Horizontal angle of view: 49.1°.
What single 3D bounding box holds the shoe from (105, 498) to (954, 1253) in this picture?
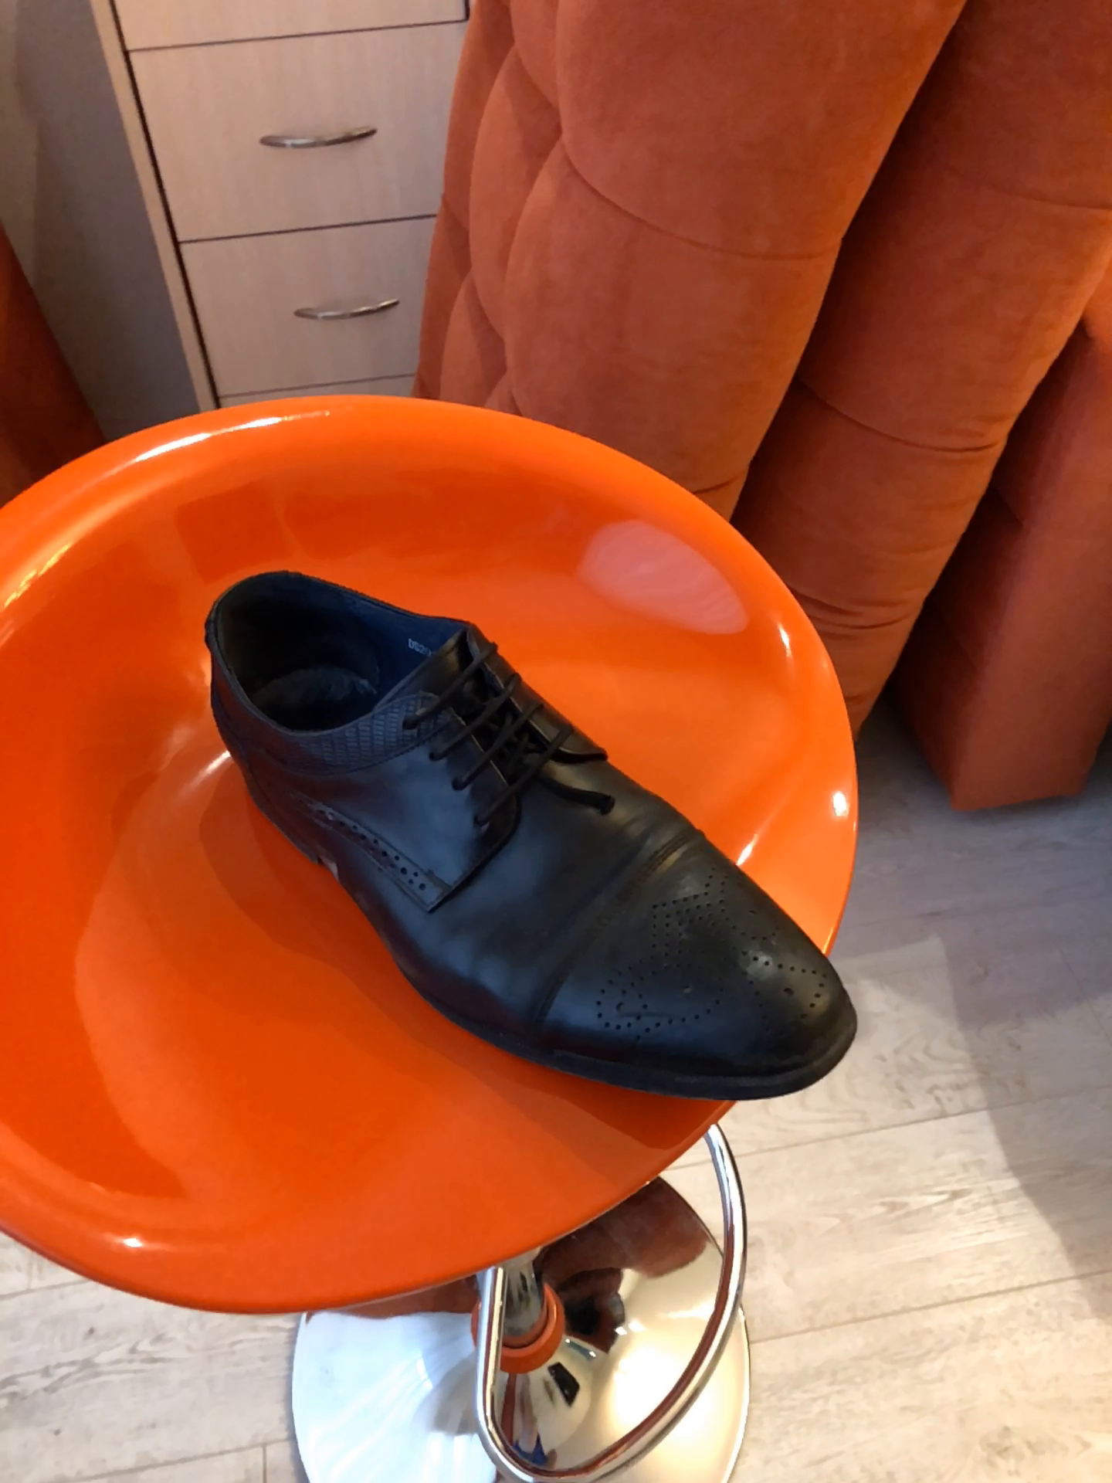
[{"bbox_3d":[-0.024,0.027,0.457,0.301,0.079,0.120,34,57,29],"label":"shoe"}]
